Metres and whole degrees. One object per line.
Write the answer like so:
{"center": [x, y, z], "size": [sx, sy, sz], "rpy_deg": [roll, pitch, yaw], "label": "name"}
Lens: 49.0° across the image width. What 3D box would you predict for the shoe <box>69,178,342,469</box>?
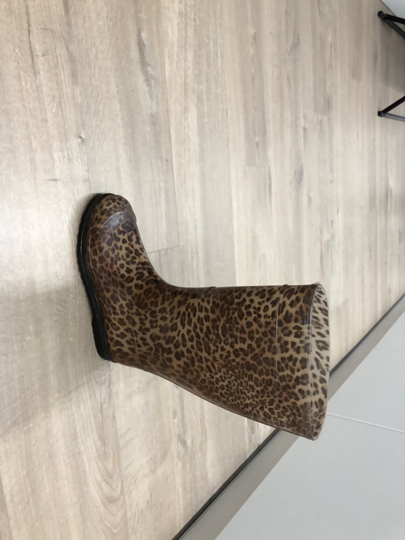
{"center": [-0.013, 0.042, 0.553], "size": [0.091, 0.338, 0.280], "rpy_deg": [-9, 101, -54], "label": "shoe"}
